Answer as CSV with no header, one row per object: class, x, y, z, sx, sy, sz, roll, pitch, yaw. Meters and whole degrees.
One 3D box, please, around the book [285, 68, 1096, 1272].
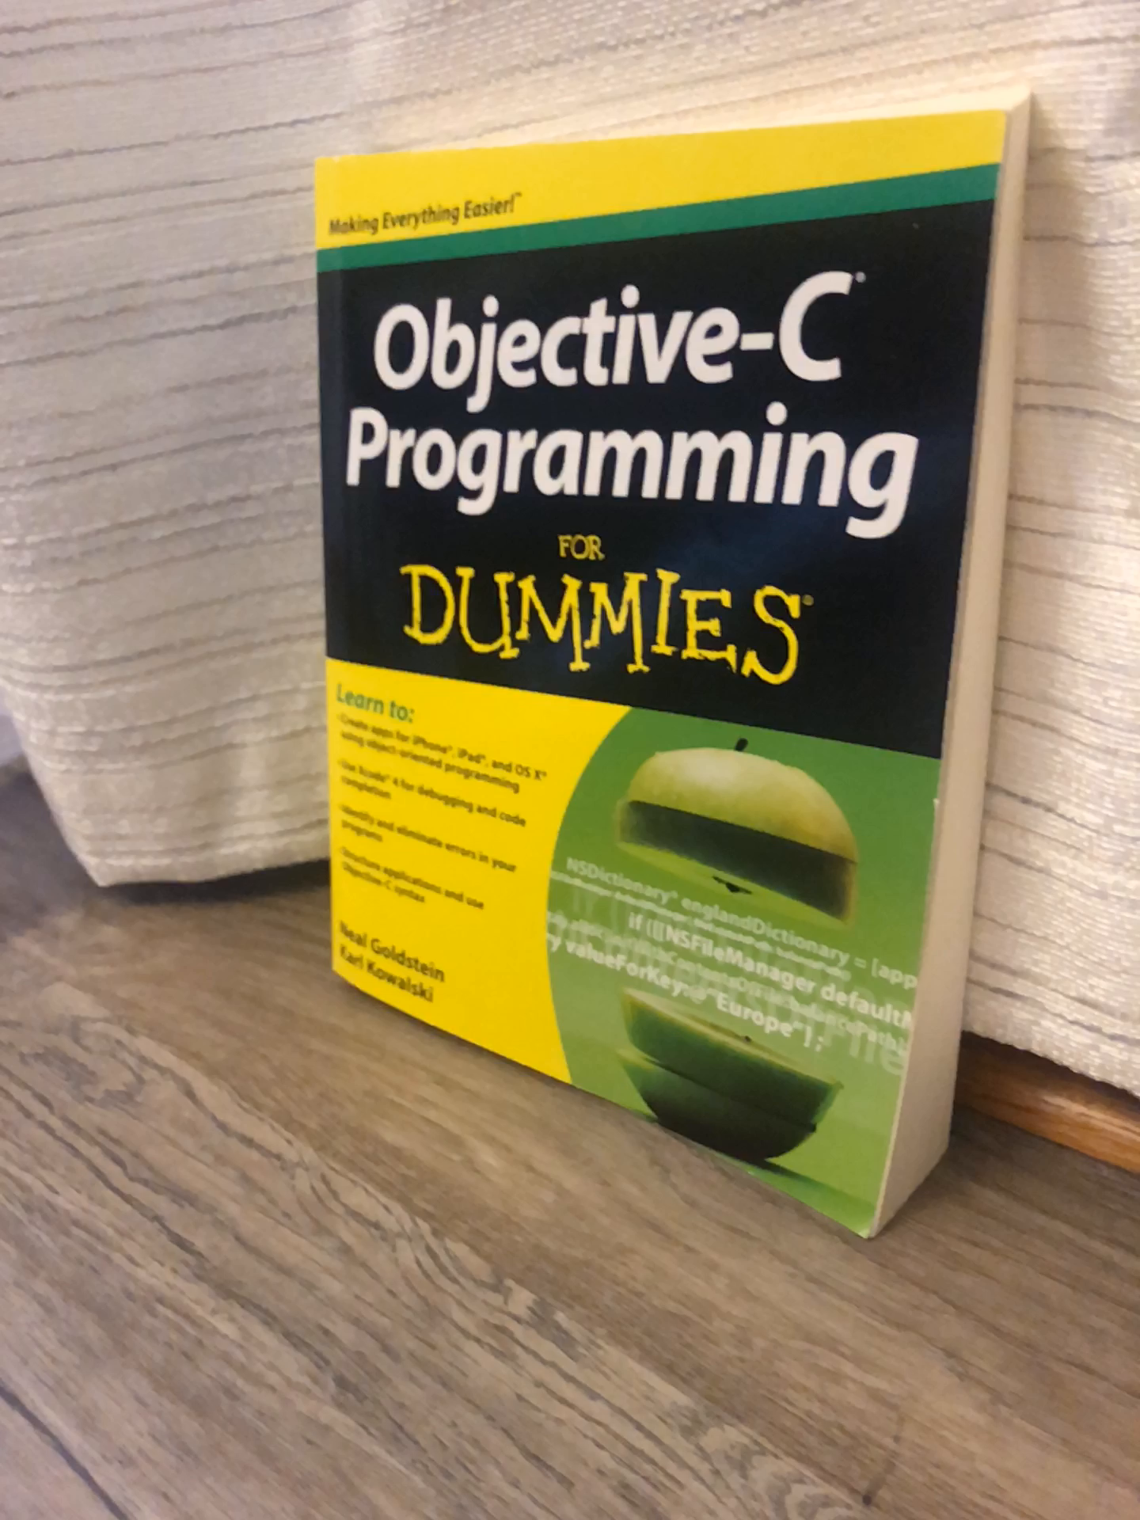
book,0.010,-0.023,0.303,0.184,0.230,0.033,15,22,36
